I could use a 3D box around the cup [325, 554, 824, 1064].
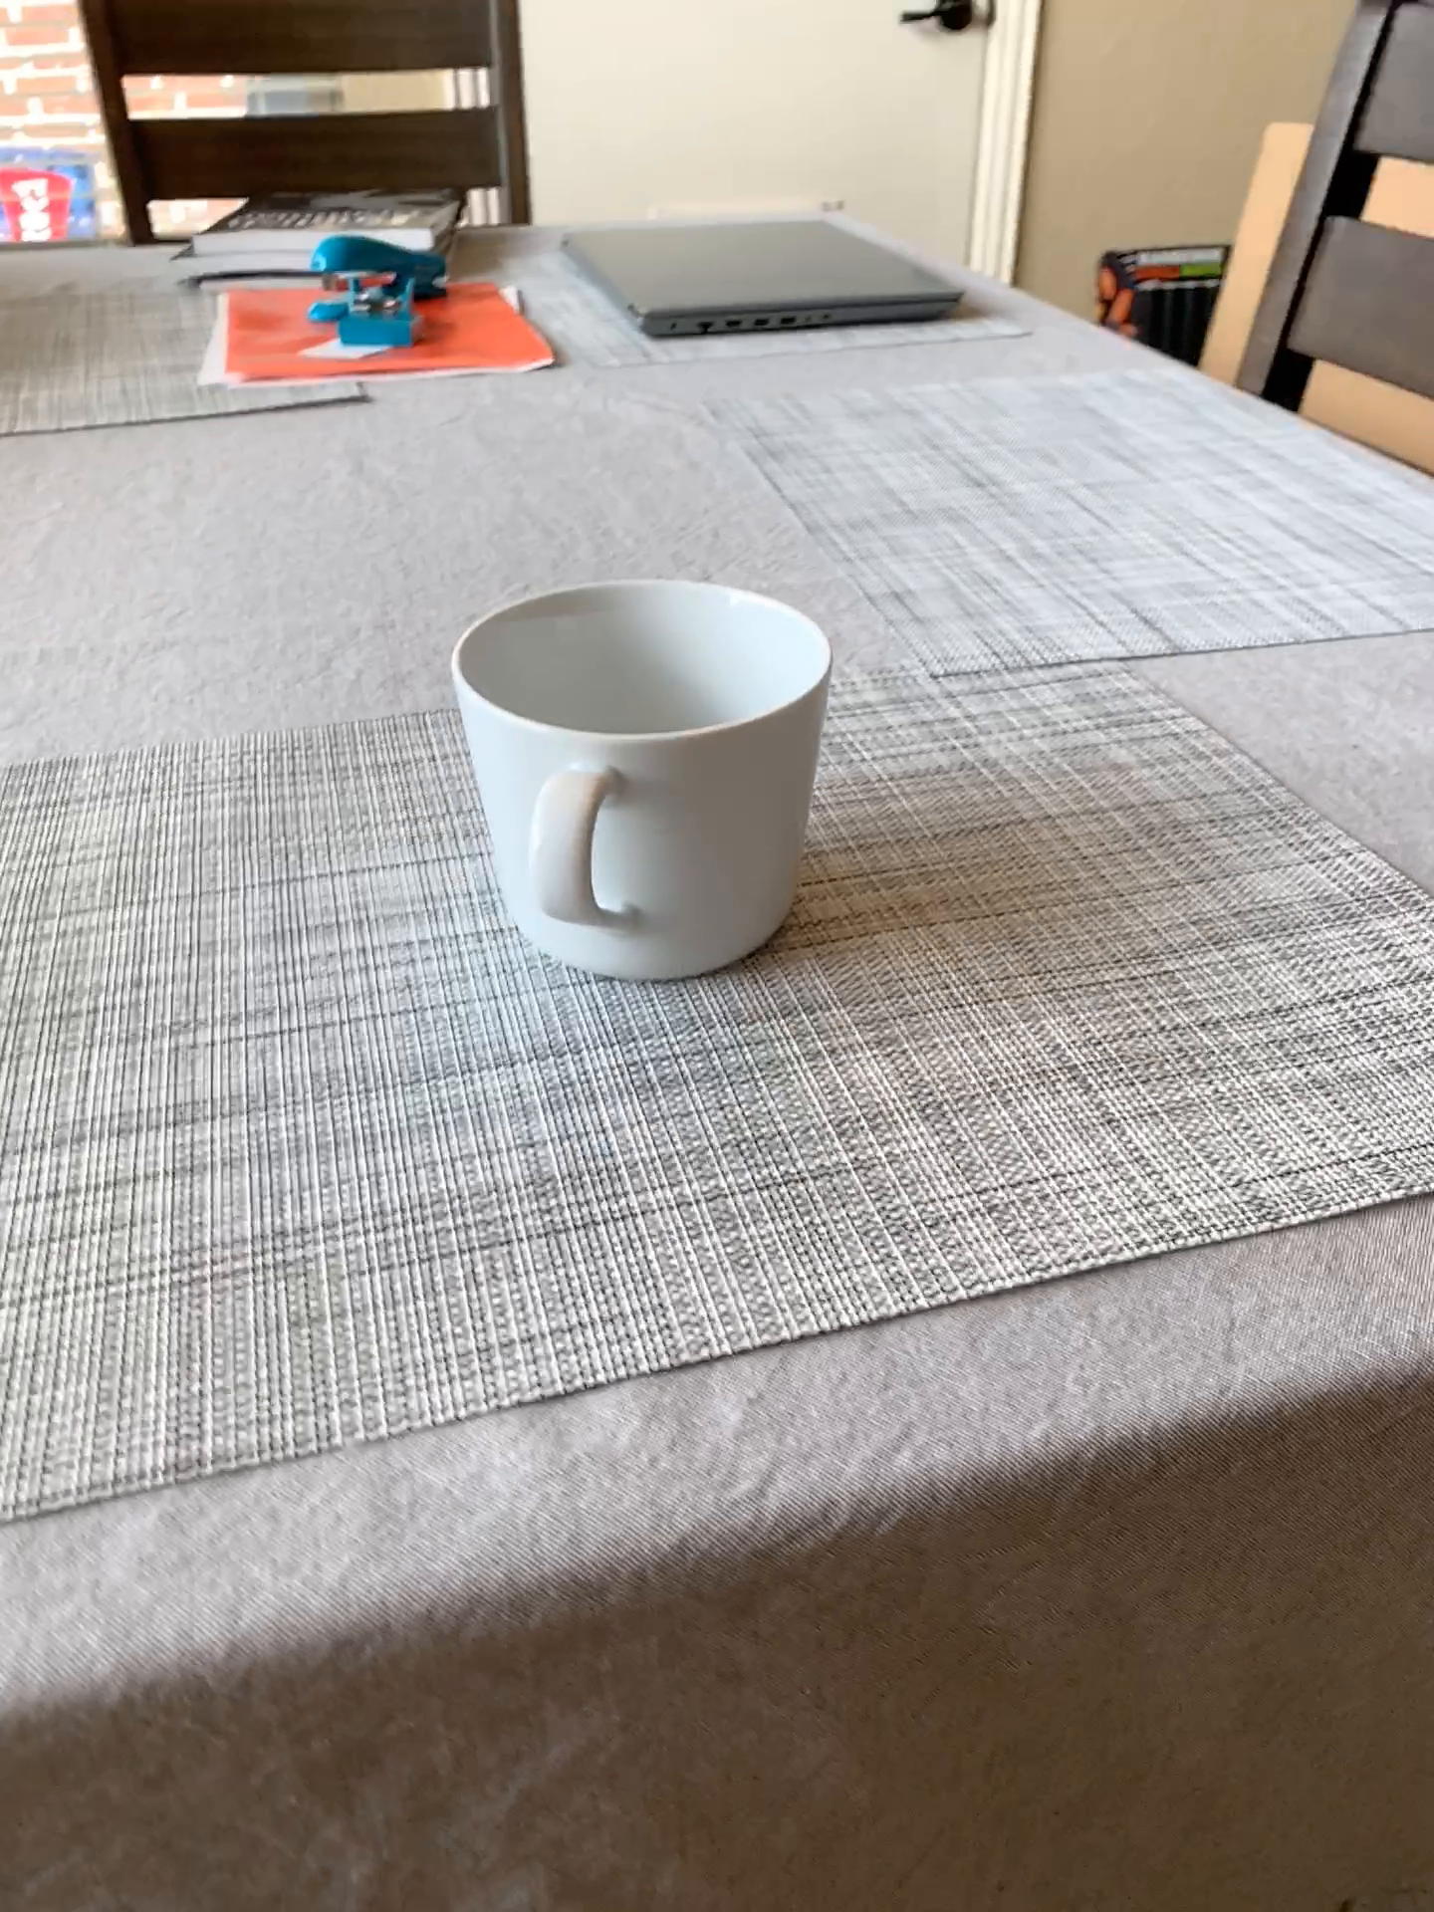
[{"bbox_3d":[-0.029,-0.045,0.399,0.100,0.081,0.122,5,35,8],"label":"cup"}]
